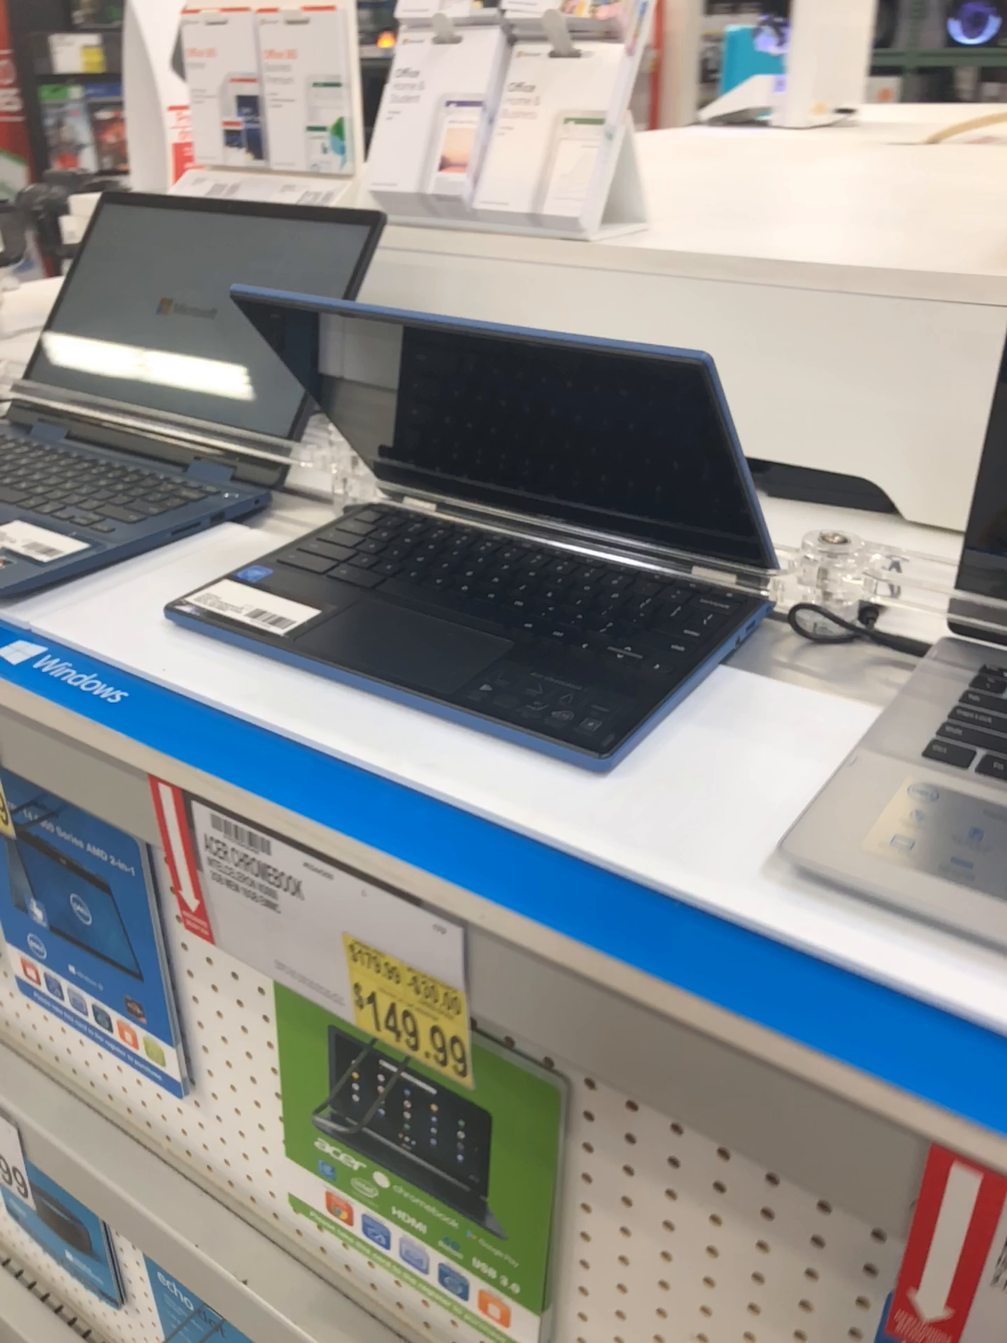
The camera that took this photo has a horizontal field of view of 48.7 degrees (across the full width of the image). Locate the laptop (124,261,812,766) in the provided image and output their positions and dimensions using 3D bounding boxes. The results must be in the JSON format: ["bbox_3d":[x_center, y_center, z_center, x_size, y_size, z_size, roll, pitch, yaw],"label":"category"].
[{"bbox_3d":[-0.019,-0.109,0.597,0.294,0.159,0.195,18,34,31],"label":"laptop"}]

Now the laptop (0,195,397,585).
[{"bbox_3d":[-0.320,-0.236,0.817,0.305,0.169,0.368,18,33,30],"label":"laptop"}]

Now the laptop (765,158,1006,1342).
[{"bbox_3d":[0.323,-0.035,0.374,0.341,0.218,0.256,17,35,33],"label":"laptop"}]
